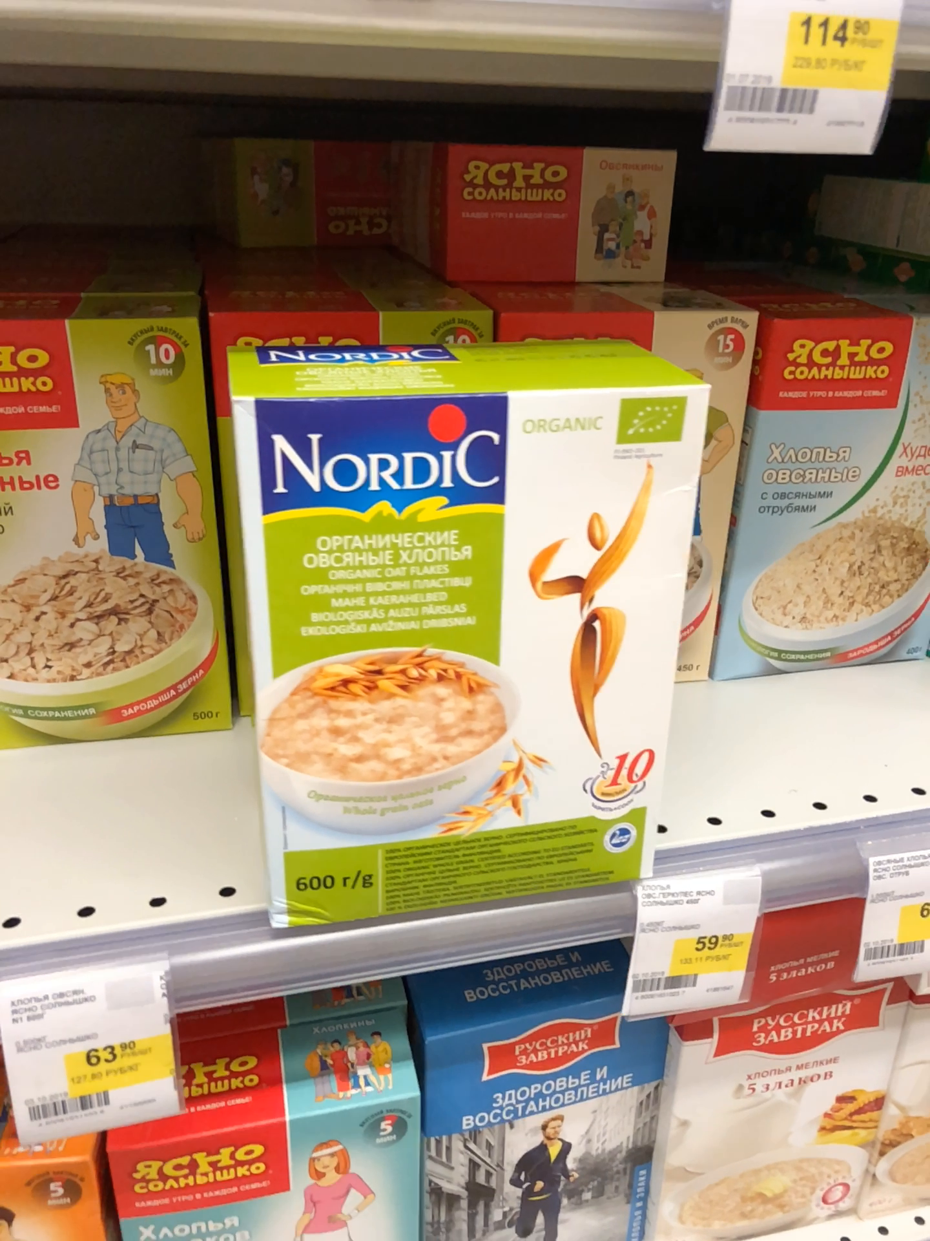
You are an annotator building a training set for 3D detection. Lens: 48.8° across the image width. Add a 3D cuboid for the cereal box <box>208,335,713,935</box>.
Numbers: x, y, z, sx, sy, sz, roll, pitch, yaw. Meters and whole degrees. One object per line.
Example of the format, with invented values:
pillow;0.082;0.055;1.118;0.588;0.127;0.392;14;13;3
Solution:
cereal box;-0.008;0.001;0.372;0.150;0.189;0.080;-5;25;-12
